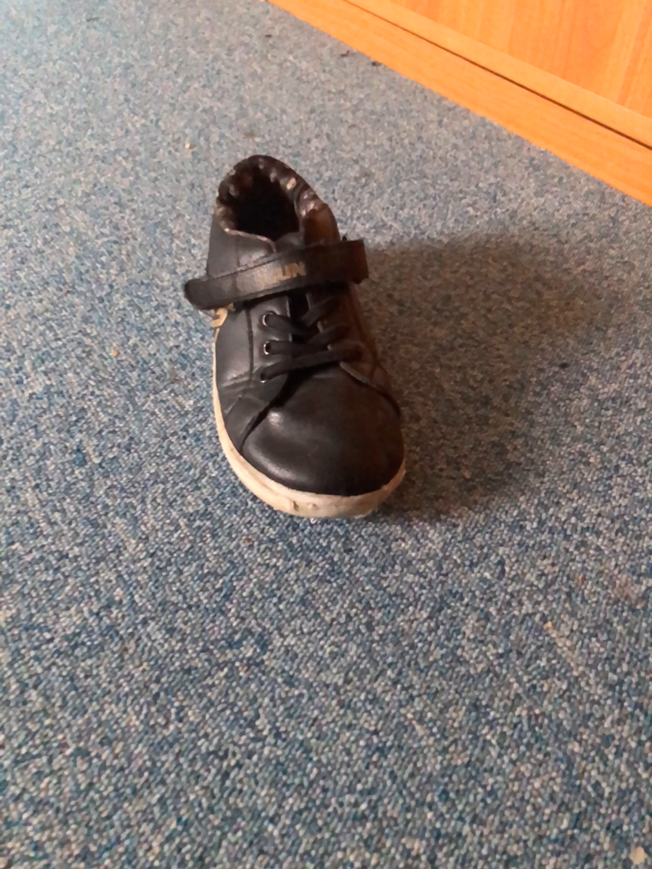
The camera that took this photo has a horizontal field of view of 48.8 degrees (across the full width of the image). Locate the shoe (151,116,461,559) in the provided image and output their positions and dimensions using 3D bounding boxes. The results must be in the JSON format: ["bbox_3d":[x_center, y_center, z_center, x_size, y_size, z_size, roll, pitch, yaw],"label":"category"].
[{"bbox_3d":[-0.025,-0.066,0.369,0.110,0.090,0.231,-7,48,-8],"label":"shoe"}]
